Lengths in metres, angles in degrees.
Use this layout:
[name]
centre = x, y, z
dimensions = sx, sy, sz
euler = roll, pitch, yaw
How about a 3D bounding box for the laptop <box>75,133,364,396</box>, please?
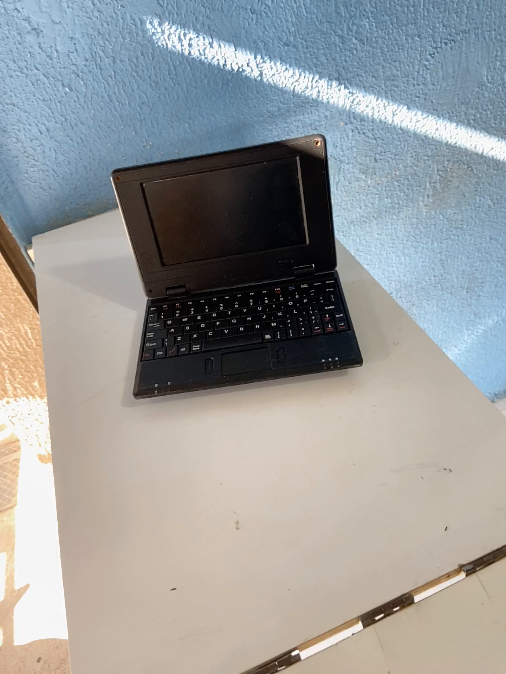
[laptop]
centre = -0.022, -0.071, 0.494
dimensions = 0.216, 0.137, 0.180
euler = -8, 44, 4
